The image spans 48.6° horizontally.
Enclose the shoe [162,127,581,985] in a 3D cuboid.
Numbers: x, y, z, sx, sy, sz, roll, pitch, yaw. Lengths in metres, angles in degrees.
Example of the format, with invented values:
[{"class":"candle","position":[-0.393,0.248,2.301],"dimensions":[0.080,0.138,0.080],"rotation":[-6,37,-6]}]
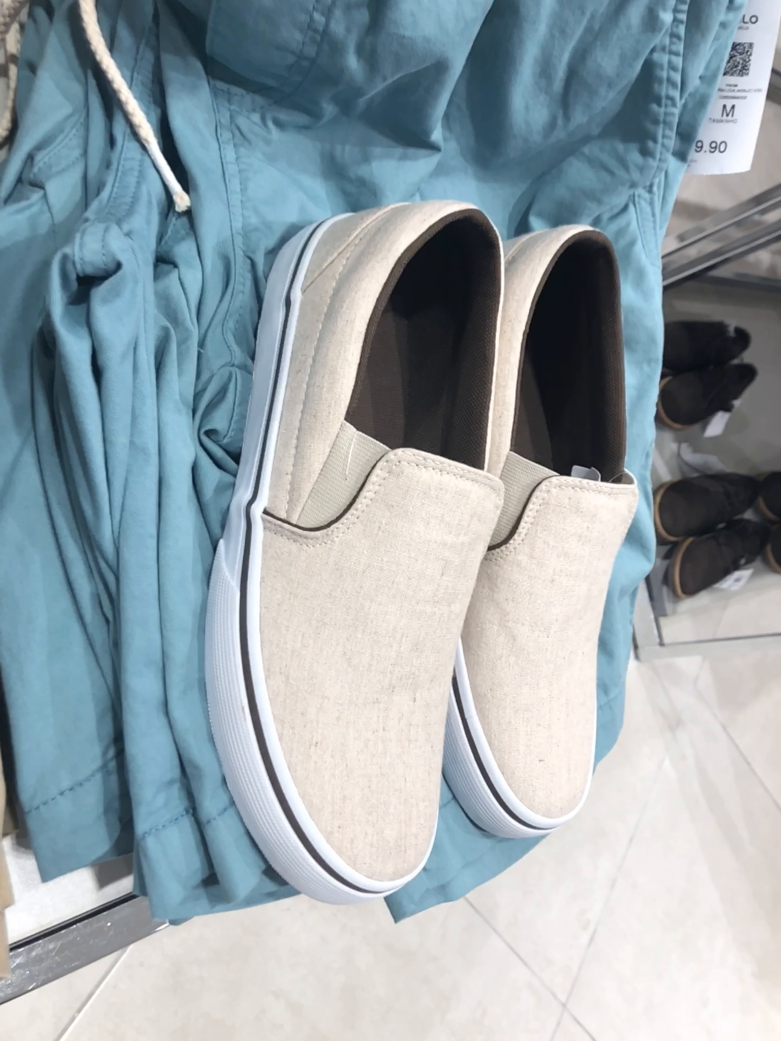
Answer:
[{"class":"shoe","position":[-0.003,0.012,0.326],"dimensions":[0.101,0.089,0.260],"rotation":[12,79,-38]}]

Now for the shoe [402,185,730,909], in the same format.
[{"class":"shoe","position":[0.075,0.010,0.377],"dimensions":[0.101,0.089,0.260],"rotation":[2,86,-40]}]
